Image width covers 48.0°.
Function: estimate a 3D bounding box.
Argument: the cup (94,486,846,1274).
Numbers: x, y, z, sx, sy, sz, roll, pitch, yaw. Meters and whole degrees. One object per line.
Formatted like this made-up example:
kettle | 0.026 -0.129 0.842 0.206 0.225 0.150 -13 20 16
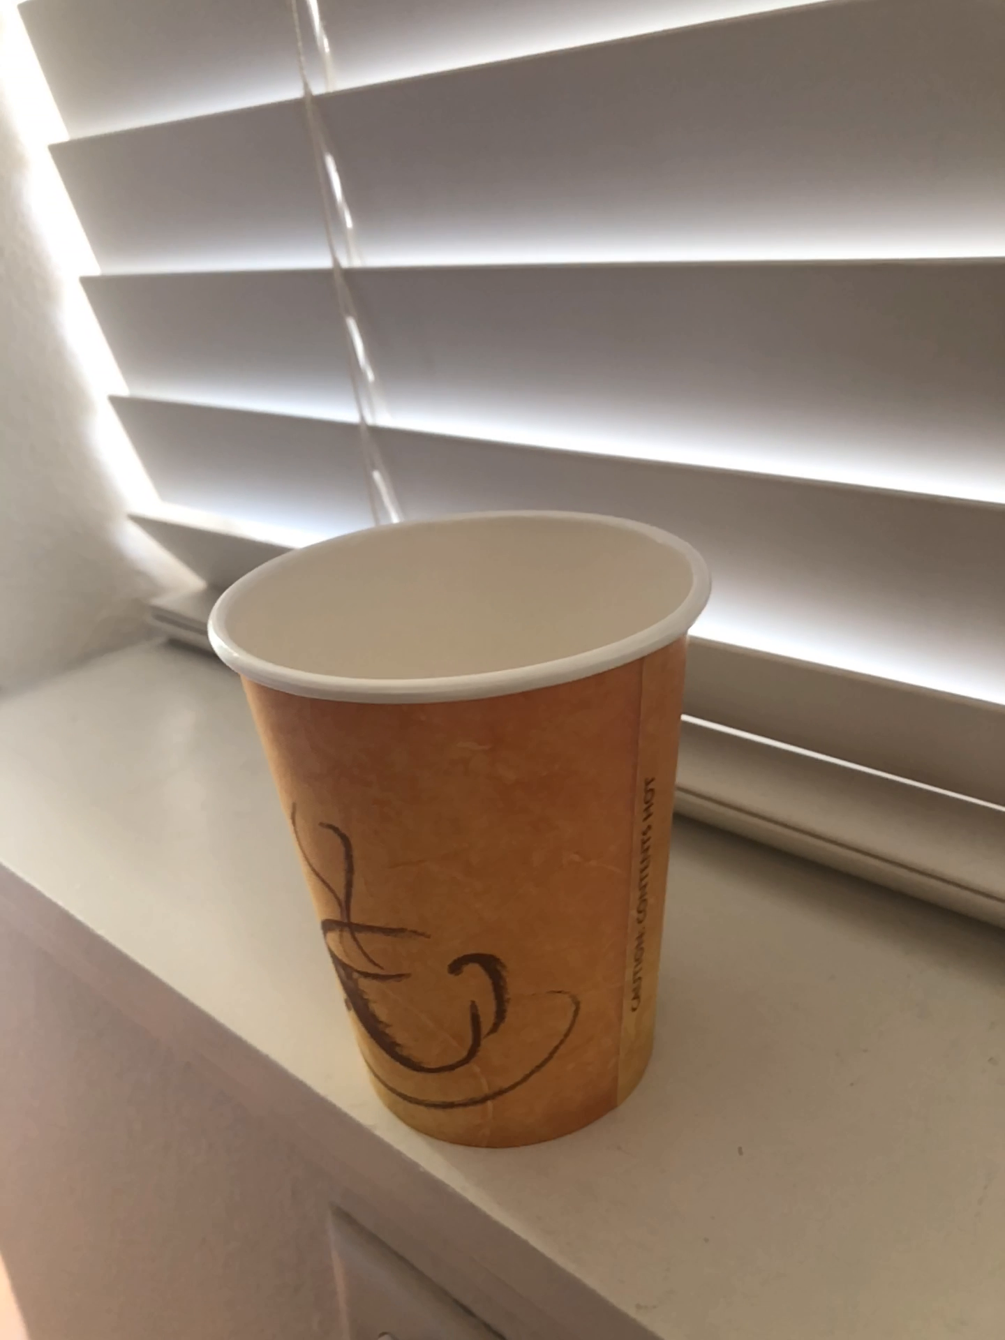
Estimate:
cup | -0.004 0.025 0.217 0.094 0.088 0.095 -4 23 2
